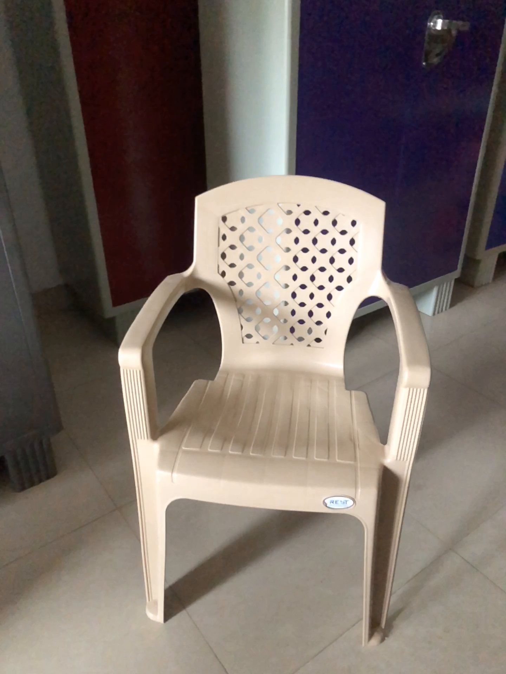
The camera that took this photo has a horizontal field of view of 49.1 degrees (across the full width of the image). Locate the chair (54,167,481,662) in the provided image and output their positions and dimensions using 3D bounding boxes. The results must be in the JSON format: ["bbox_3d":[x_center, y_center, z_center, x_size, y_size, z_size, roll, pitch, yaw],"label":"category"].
[{"bbox_3d":[0.052,0.129,1.140,0.540,0.796,0.563,3,31,7],"label":"chair"}]
